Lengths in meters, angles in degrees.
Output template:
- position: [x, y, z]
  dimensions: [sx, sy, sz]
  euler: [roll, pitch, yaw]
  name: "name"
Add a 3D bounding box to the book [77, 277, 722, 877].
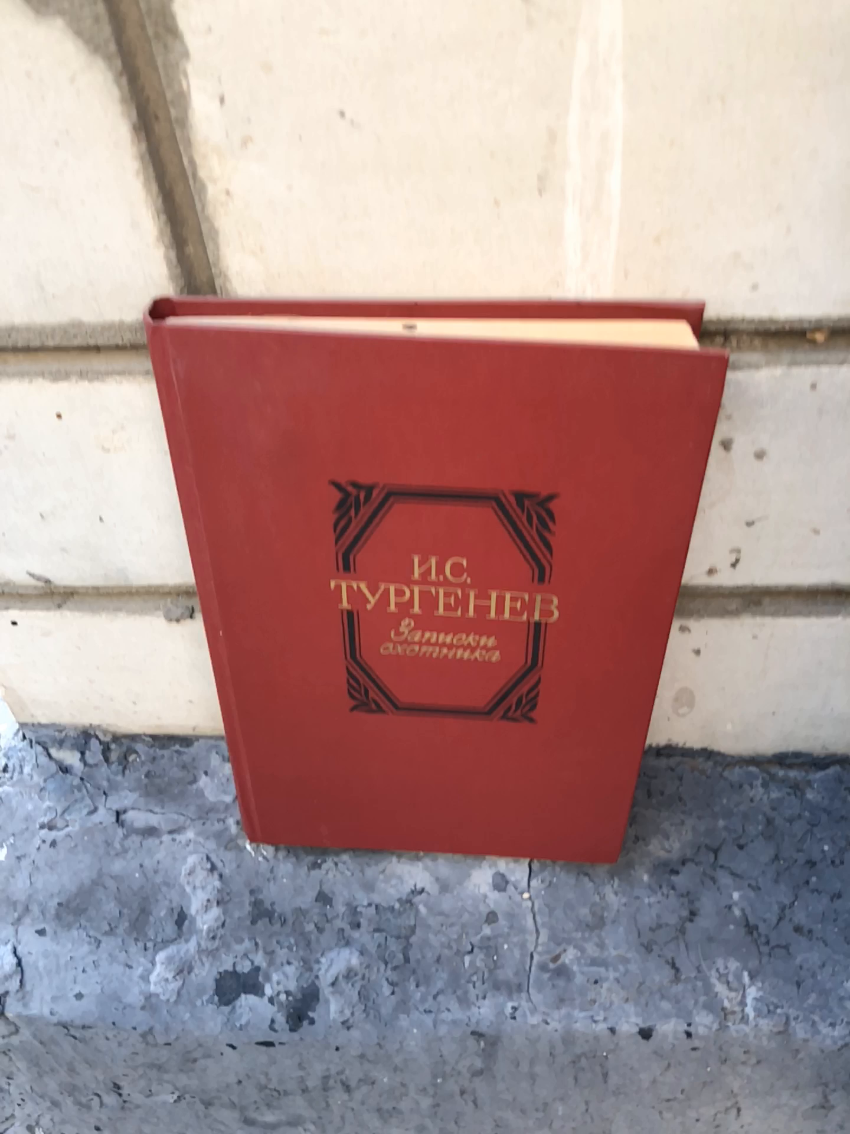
- position: [-0.002, 0.017, 0.285]
  dimensions: [0.147, 0.205, 0.026]
  euler: [2, 39, 7]
  name: "book"
